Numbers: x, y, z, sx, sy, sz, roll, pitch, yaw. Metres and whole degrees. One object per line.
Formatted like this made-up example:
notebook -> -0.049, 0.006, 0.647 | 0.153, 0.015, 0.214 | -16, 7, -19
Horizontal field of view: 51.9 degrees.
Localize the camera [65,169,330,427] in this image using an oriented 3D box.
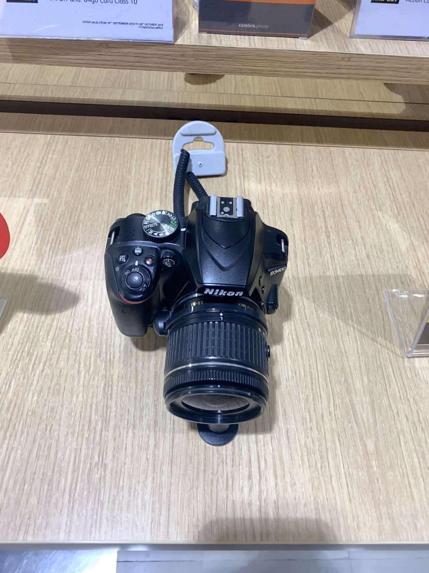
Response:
camera -> -0.010, 0.008, 0.274 | 0.120, 0.090, 0.130 | 1, 54, -3
